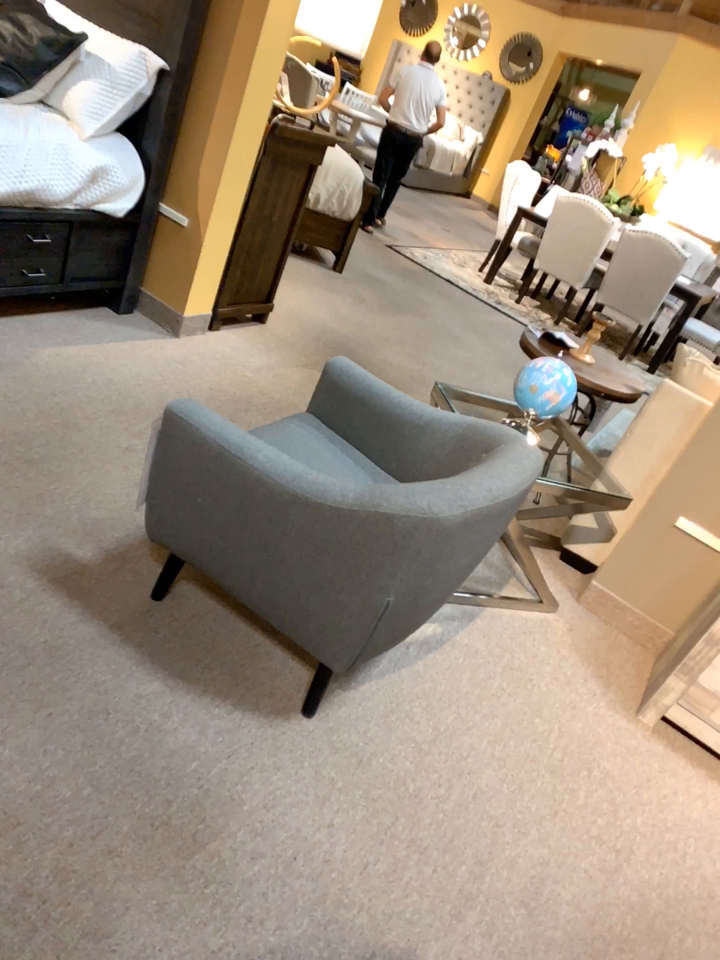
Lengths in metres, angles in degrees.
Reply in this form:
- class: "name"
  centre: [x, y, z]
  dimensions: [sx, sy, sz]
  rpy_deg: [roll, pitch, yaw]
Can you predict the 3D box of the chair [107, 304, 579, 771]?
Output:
- class: "chair"
  centre: [-0.034, 0.065, 1.872]
  dimensions: [0.742, 0.702, 0.750]
  rpy_deg: [34, 30, 18]
